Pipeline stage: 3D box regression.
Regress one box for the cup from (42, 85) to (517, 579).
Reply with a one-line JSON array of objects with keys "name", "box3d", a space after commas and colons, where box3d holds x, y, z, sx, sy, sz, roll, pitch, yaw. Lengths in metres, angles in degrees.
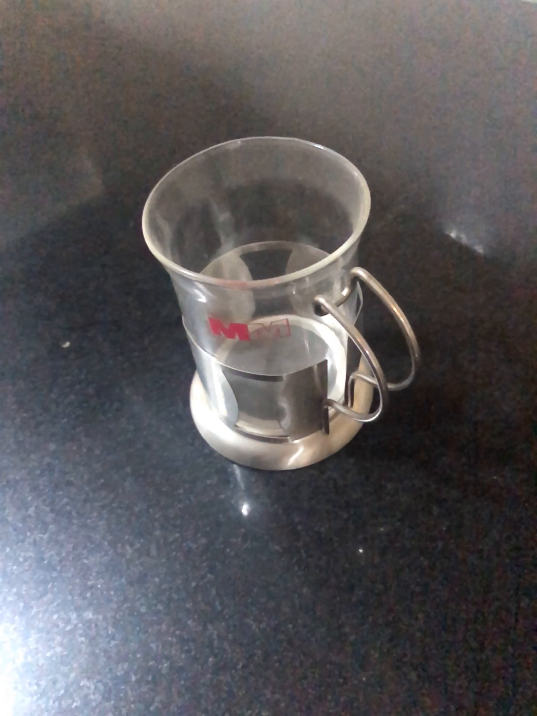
[{"name": "cup", "box3d": [0.003, -0.009, 0.212, 0.080, 0.109, 0.110, -37, 57, -20]}]
